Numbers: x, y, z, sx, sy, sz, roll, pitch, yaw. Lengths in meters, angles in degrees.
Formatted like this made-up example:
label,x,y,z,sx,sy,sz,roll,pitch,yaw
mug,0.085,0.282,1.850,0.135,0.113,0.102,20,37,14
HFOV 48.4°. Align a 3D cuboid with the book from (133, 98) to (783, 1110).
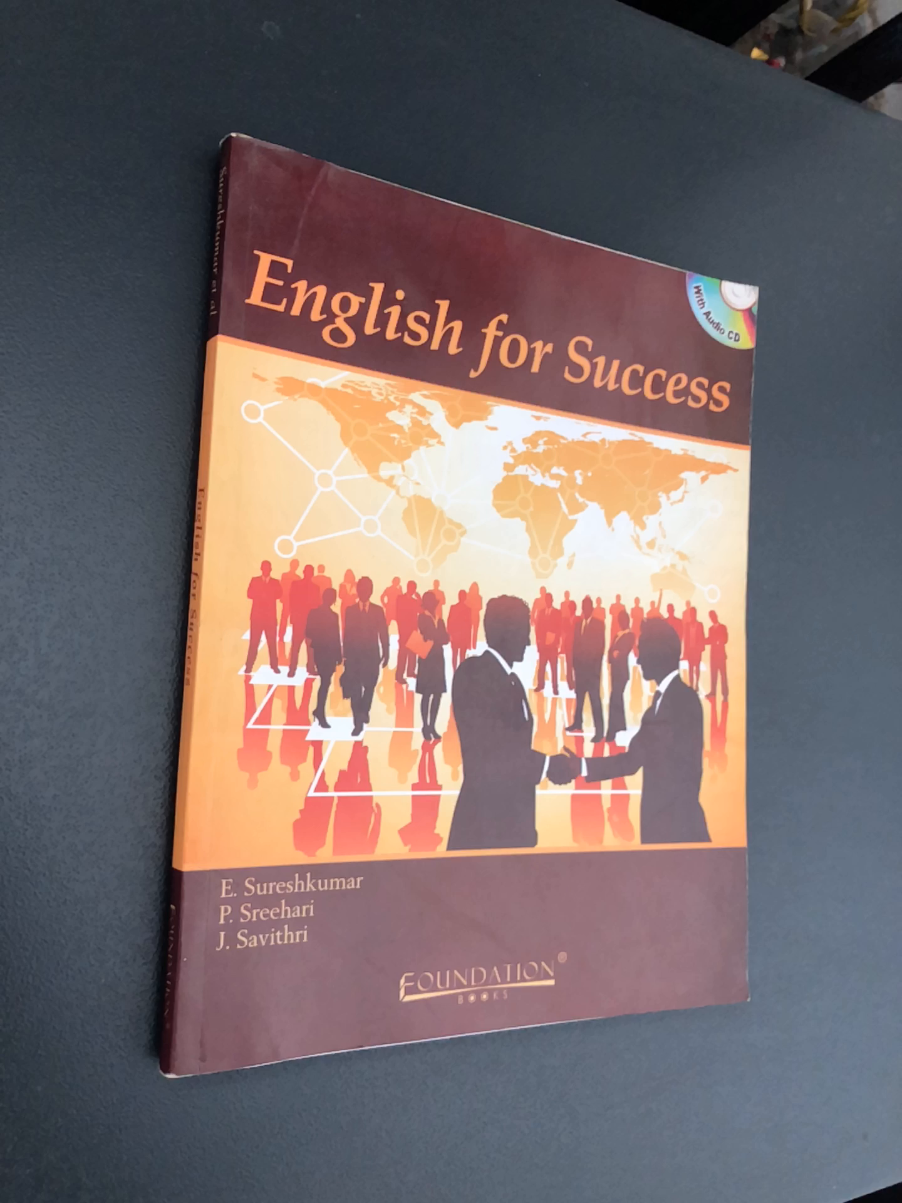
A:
label,x,y,z,sx,sy,sz,roll,pitch,yaw
book,0.015,0.002,0.294,0.191,0.030,0.240,5,82,-28
